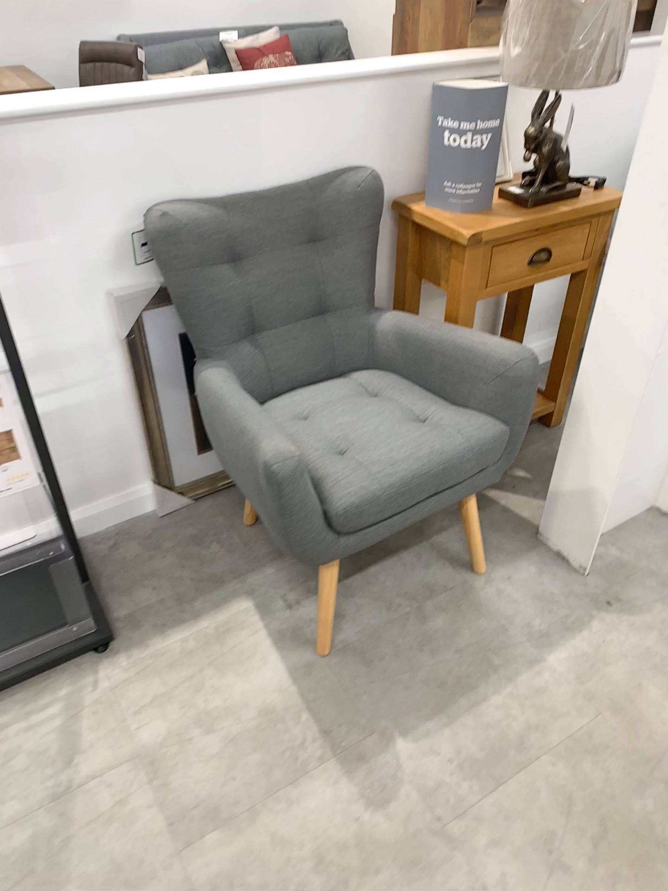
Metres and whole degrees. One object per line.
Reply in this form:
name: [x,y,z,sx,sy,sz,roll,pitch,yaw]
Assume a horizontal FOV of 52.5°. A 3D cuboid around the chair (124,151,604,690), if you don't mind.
chair: [0.045,-0.086,1.517,0.709,0.877,0.542,-21,41,-25]
